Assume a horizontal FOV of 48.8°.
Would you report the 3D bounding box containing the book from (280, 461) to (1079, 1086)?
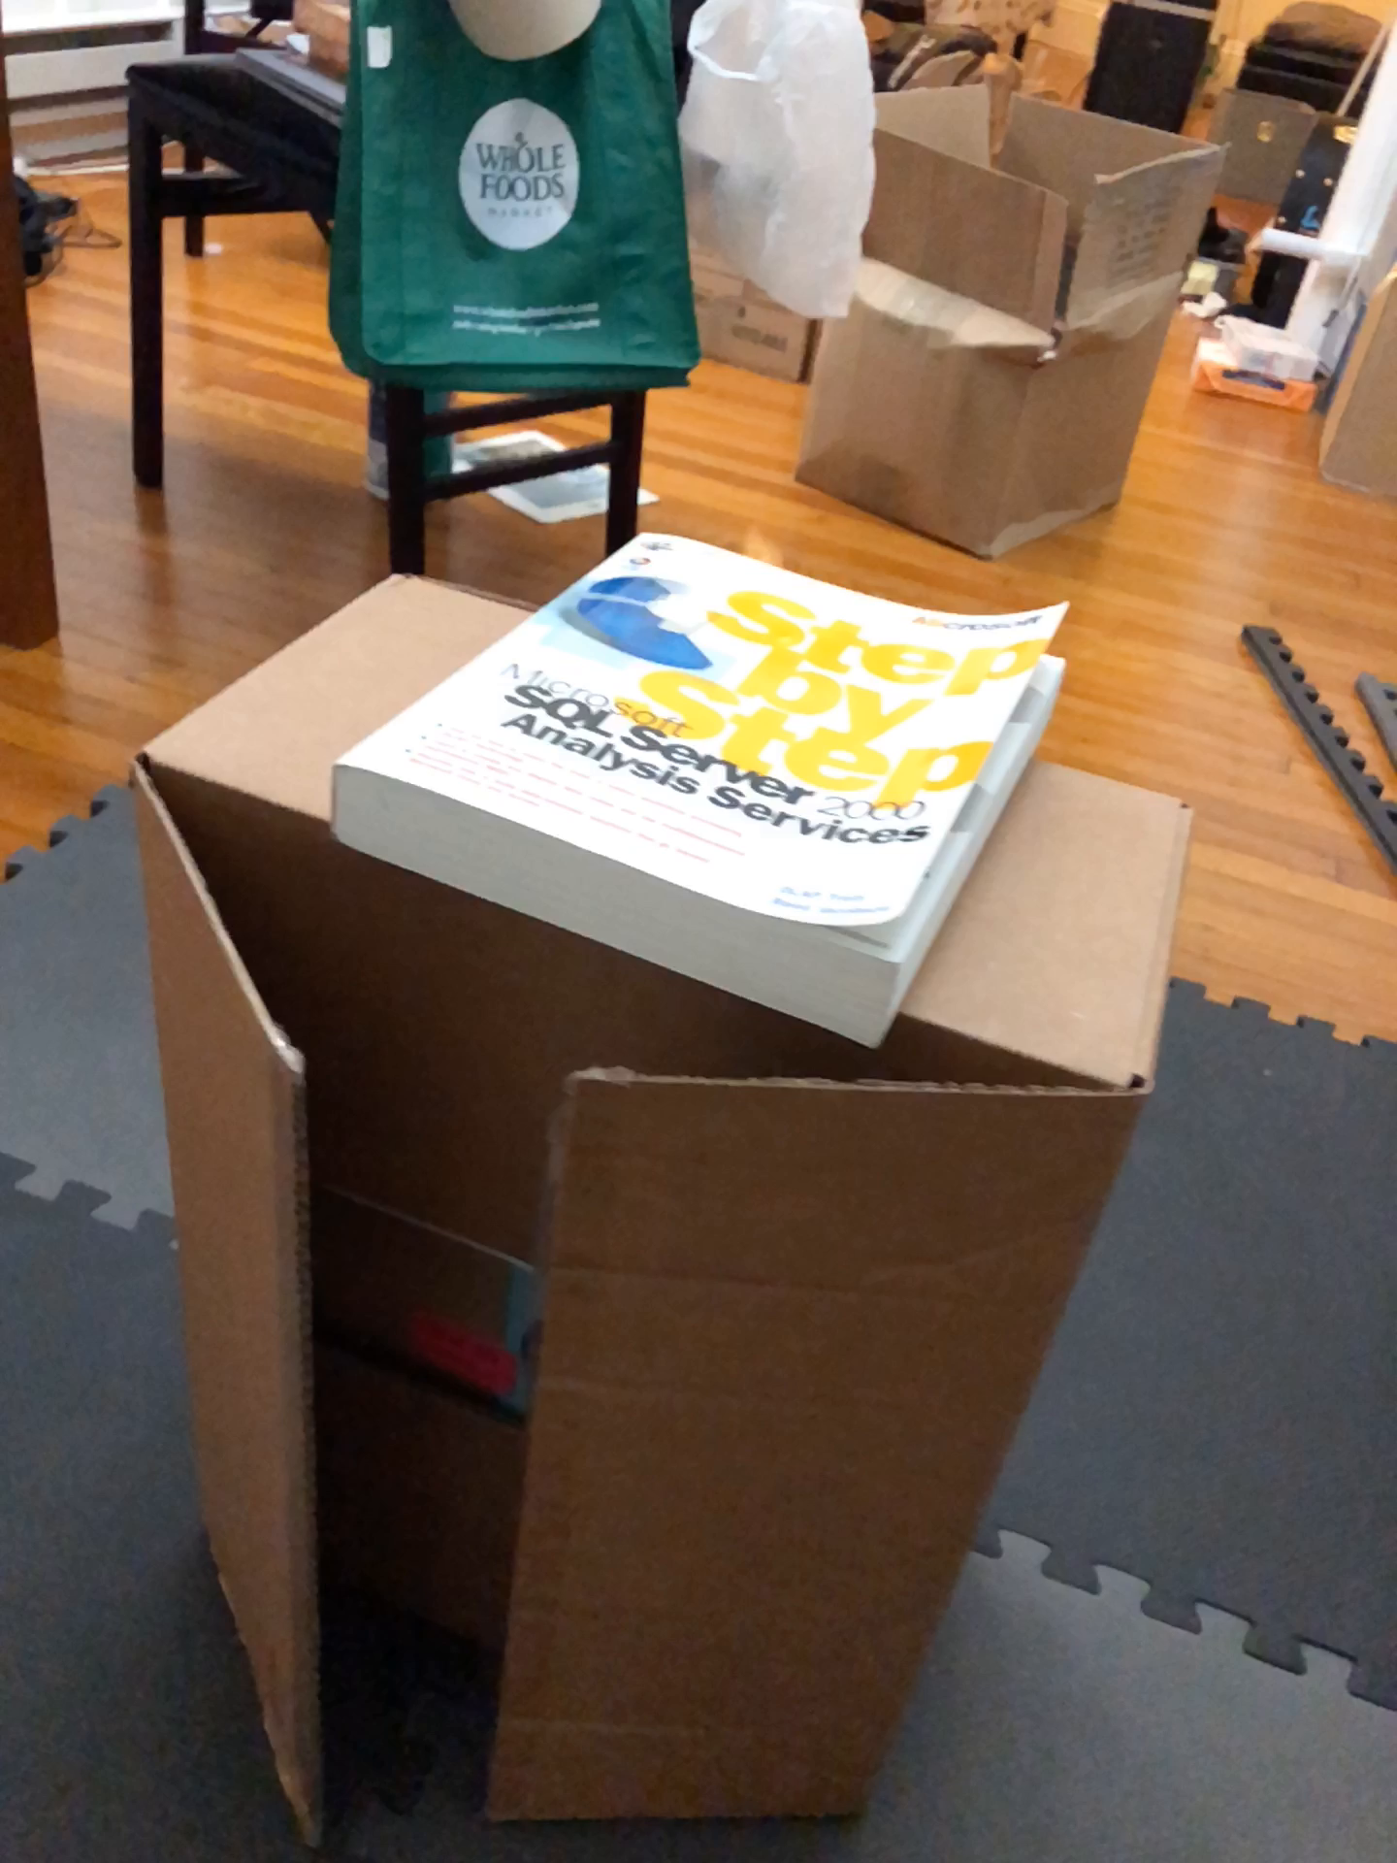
[{"bbox_3d":[0.009,-0.075,0.538,0.200,0.050,0.241,21,38,10],"label":"book"}]
